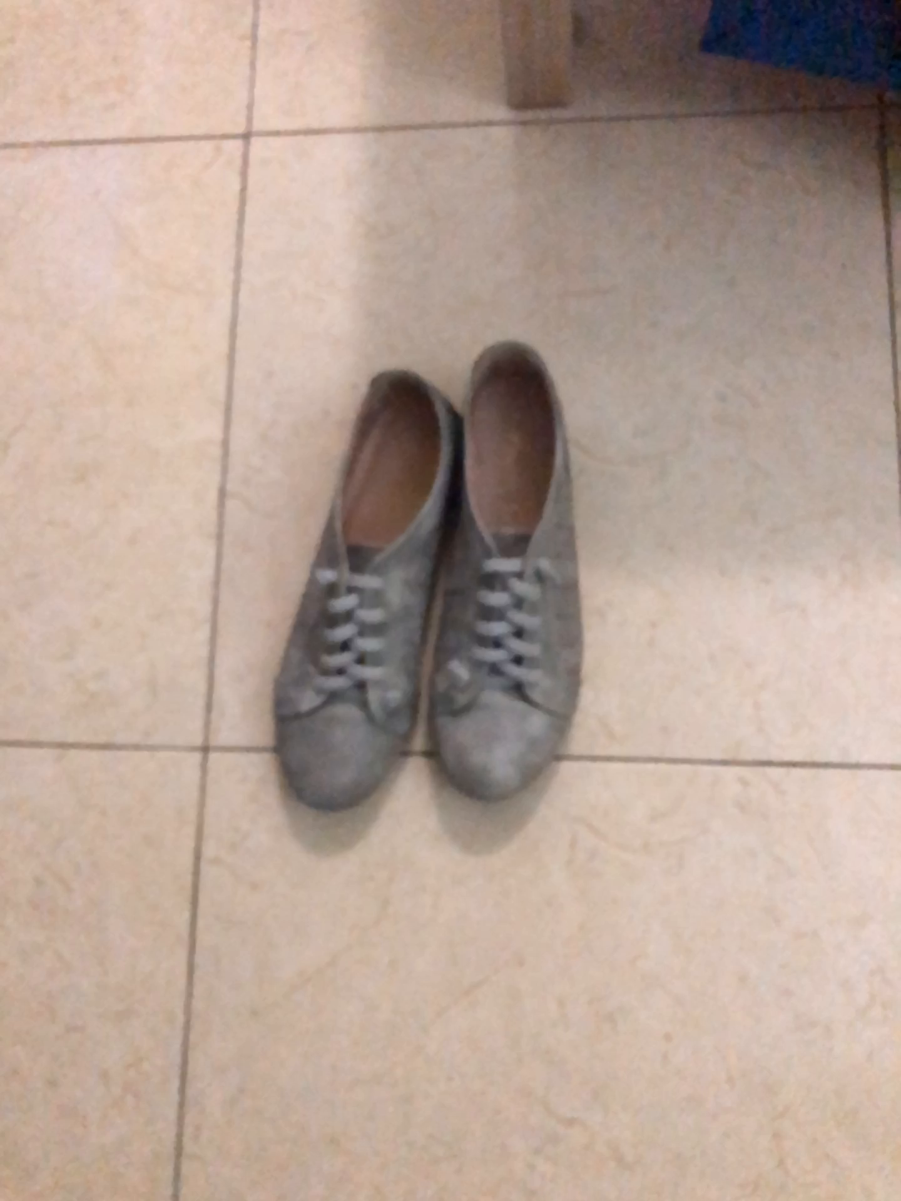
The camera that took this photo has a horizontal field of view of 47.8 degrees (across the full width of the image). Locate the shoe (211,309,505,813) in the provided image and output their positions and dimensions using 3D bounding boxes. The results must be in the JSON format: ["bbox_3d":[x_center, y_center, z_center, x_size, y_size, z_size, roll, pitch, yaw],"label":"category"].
[{"bbox_3d":[-0.050,-0.022,0.648,0.100,0.100,0.290,13,81,9],"label":"shoe"}]

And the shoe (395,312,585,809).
[{"bbox_3d":[0.030,-0.021,0.633,0.100,0.100,0.290,1,80,7],"label":"shoe"}]
